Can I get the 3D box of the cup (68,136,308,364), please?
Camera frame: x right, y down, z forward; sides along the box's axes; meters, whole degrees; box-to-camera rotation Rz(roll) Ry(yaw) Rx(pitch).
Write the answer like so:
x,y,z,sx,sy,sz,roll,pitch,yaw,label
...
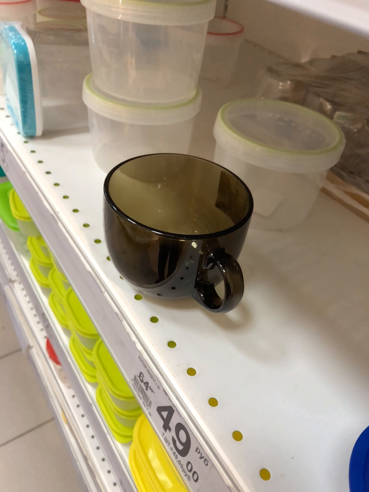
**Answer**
x,y,z,sx,sy,sz,roll,pitch,yaw,label
-0.005,-0.008,0.301,0.105,0.071,0.136,-22,49,-28,cup
